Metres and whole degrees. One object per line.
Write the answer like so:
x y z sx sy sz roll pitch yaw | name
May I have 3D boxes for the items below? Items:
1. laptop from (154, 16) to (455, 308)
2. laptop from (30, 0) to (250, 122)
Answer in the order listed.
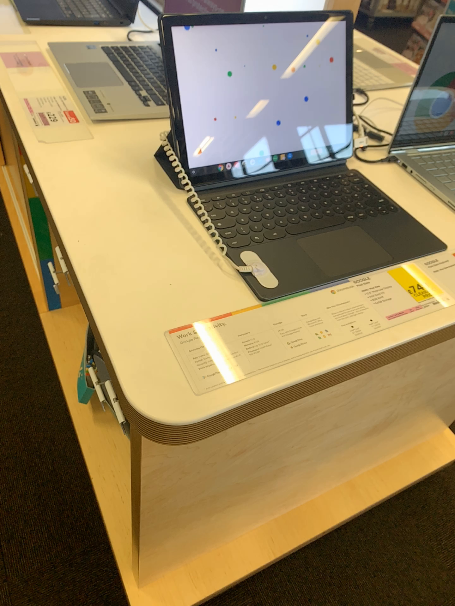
0.102 -0.196 0.574 0.286 0.187 0.294 -16 51 -25 | laptop
-0.154 -0.490 0.771 0.233 0.222 0.321 -14 51 -25 | laptop
